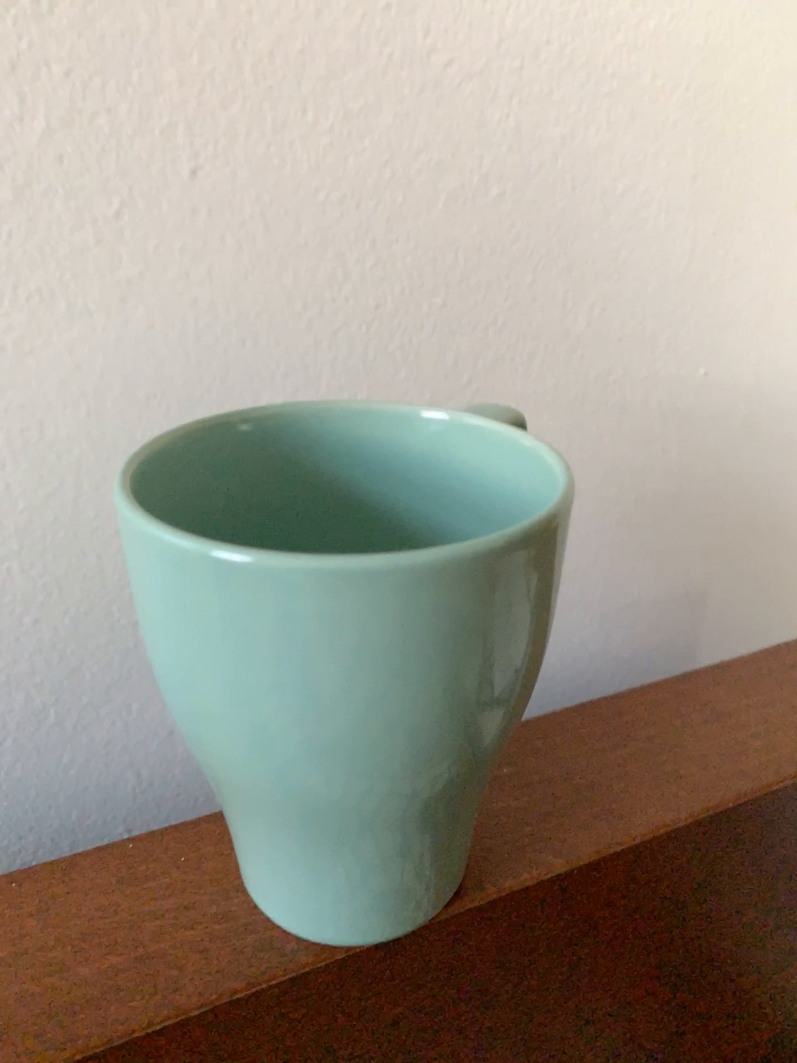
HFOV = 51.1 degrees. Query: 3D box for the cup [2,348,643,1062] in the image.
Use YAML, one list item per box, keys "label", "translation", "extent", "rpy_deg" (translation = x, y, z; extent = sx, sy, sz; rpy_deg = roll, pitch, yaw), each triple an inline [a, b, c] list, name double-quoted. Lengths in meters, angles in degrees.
- label: "cup"
  translation: [-0.006, 0.019, 0.192]
  extent: [0.082, 0.091, 0.123]
  rpy_deg: [15, 26, 23]
